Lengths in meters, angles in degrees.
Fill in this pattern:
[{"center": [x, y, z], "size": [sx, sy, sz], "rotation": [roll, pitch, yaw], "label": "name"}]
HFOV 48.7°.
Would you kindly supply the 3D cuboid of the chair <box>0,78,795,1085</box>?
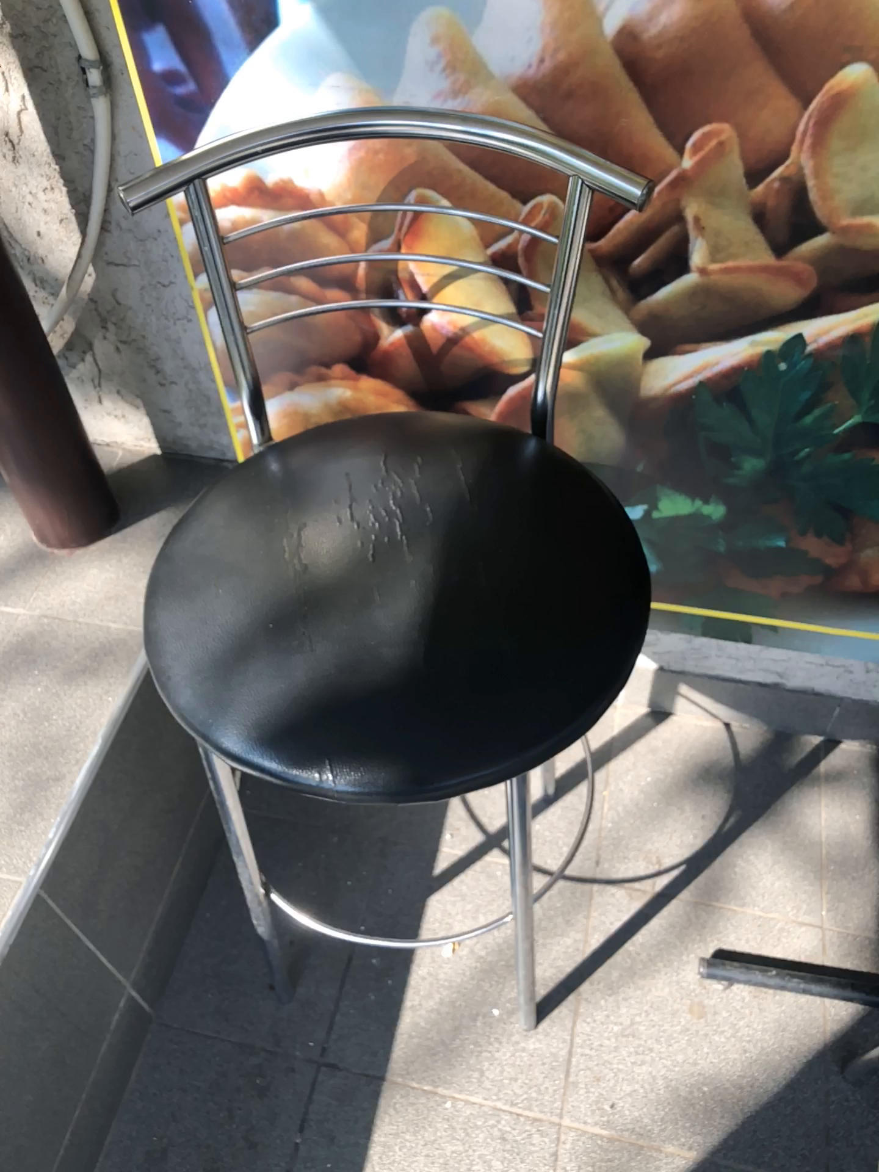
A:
[{"center": [-0.043, 0.095, 0.956], "size": [0.480, 0.937, 0.482], "rotation": [2, 50, 5], "label": "chair"}]
